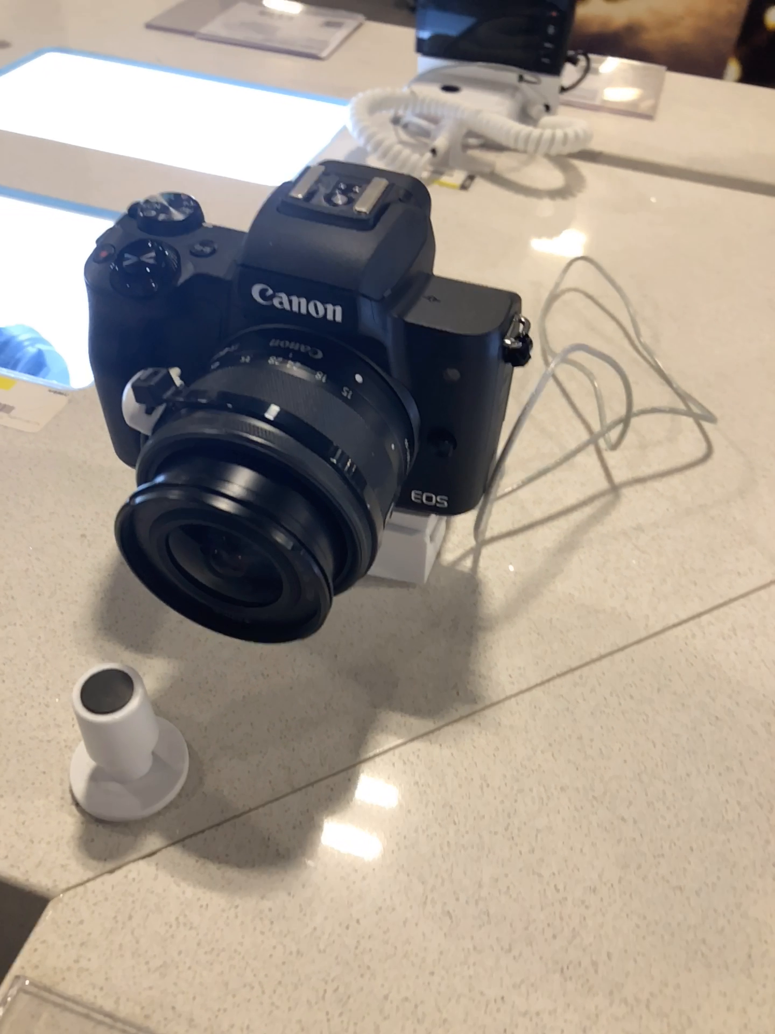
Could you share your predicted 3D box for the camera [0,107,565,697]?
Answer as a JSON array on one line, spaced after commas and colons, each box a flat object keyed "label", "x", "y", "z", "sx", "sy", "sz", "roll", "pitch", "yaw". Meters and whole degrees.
[{"label": "camera", "x": -0.033, "y": -0.040, "z": 0.236, "sx": 0.130, "sy": 0.079, "sz": 0.121, "roll": 15, "pitch": 45, "yaw": 10}]
